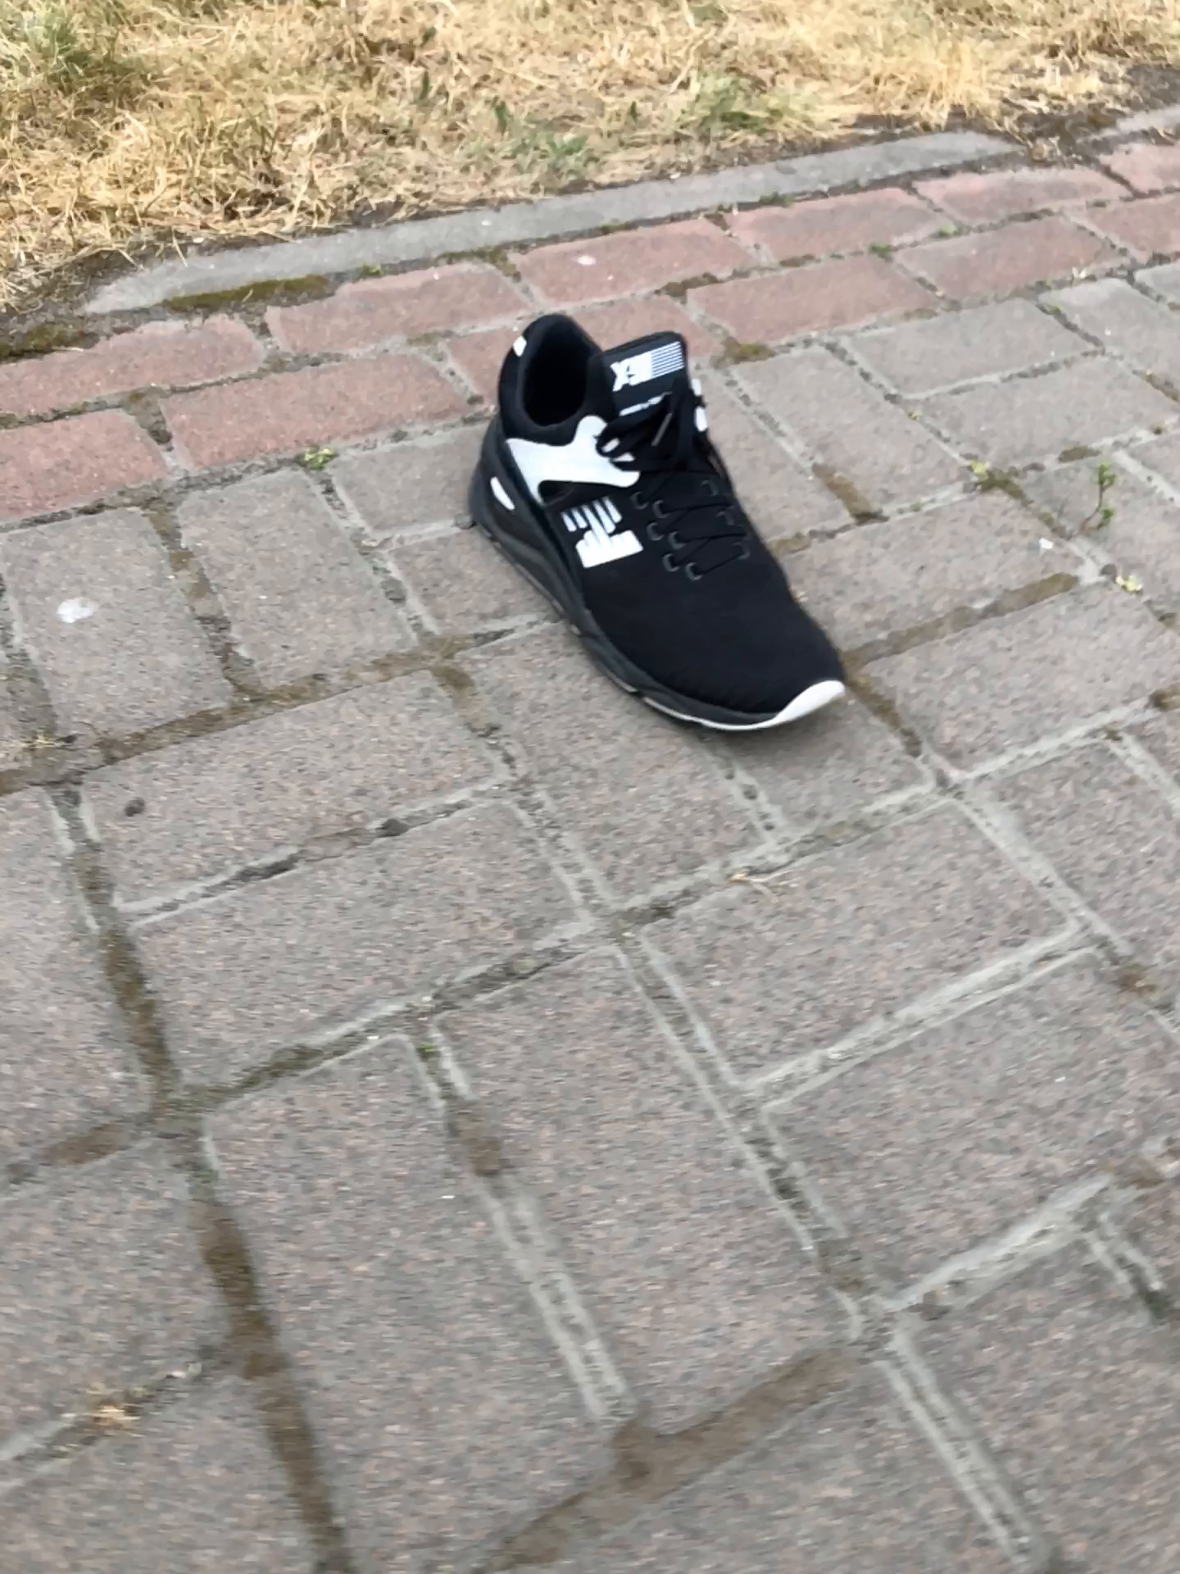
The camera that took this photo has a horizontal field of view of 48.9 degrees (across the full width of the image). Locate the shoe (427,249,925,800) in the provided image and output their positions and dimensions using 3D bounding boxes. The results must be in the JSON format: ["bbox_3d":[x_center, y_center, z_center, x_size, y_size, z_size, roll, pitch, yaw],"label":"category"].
[{"bbox_3d":[0.026,-0.147,0.674,0.100,0.129,0.281,-23,54,-24],"label":"shoe"}]
